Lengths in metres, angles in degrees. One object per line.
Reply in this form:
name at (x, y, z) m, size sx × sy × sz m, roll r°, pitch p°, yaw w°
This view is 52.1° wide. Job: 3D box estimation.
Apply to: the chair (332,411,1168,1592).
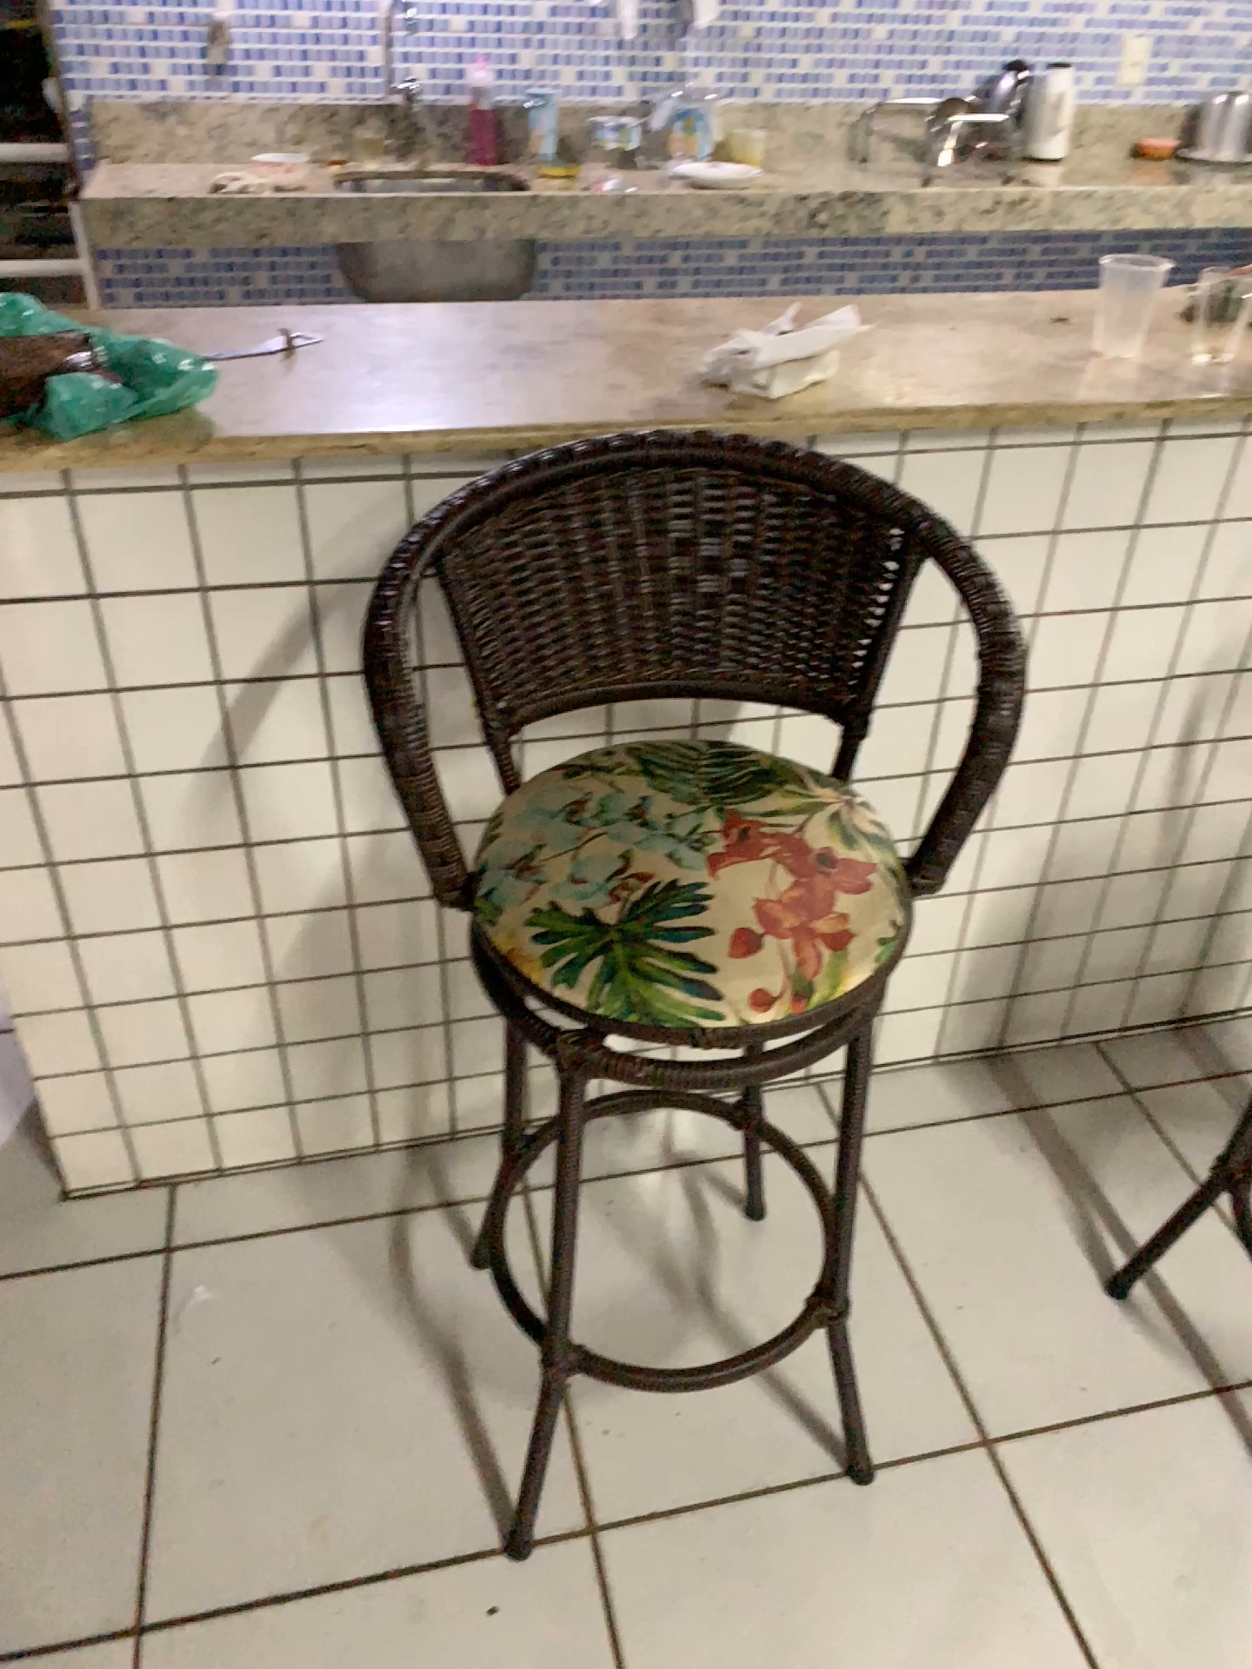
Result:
chair at (0.030, 0.166, 1.254) m, size 0.500 × 0.975 × 0.533 m, roll -6°, pitch 35°, yaw -12°
